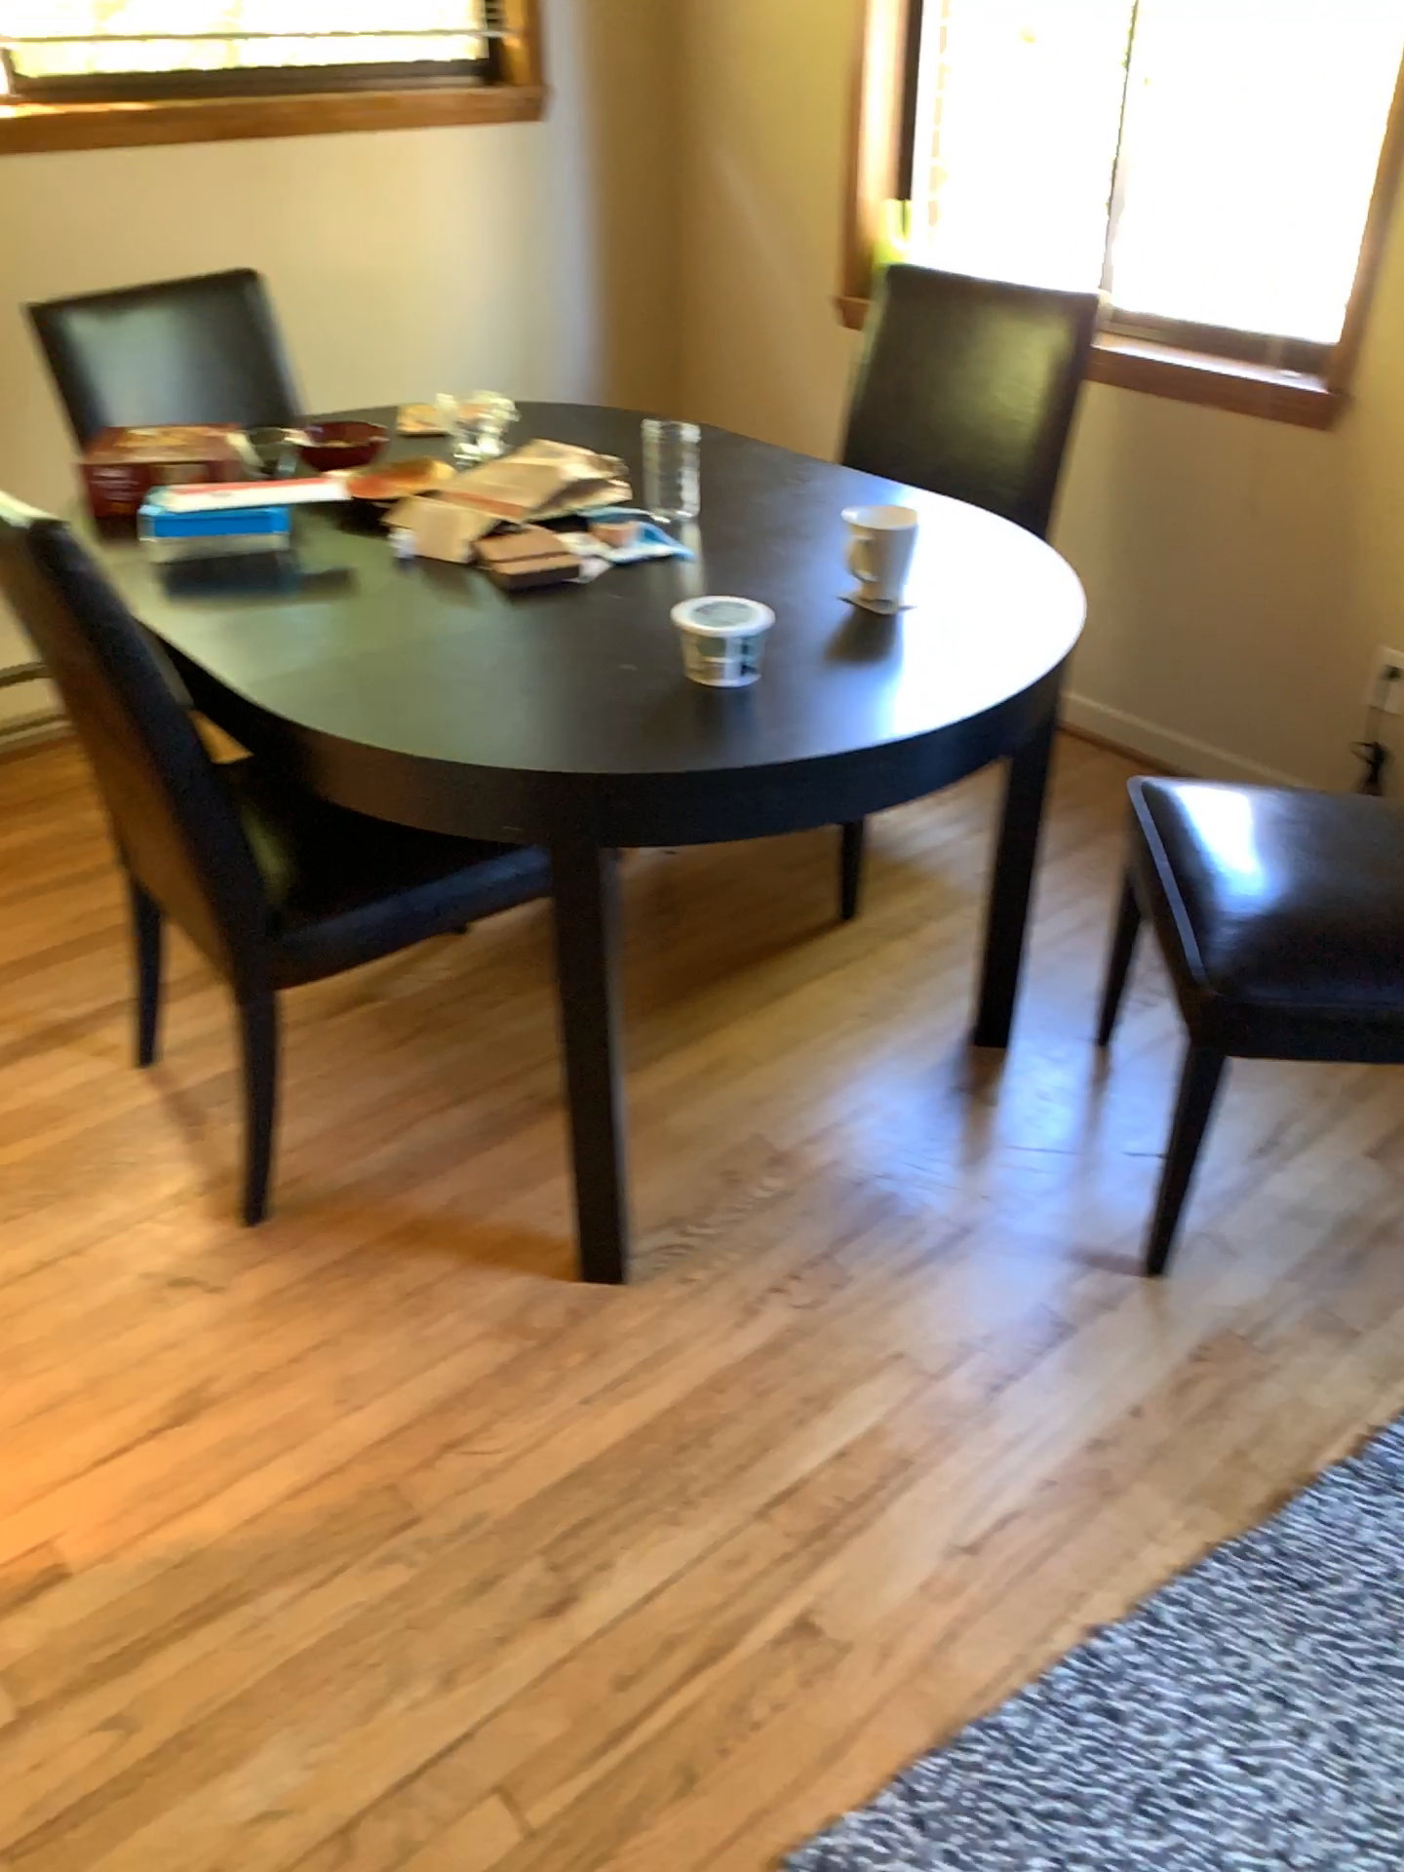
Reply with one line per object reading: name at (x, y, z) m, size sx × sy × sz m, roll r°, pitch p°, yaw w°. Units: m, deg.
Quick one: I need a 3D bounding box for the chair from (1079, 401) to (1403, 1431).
chair at (0.912, -0.020, 1.763) m, size 0.650 × 1.083 × 0.624 m, roll 2°, pitch 33°, yaw 4°
